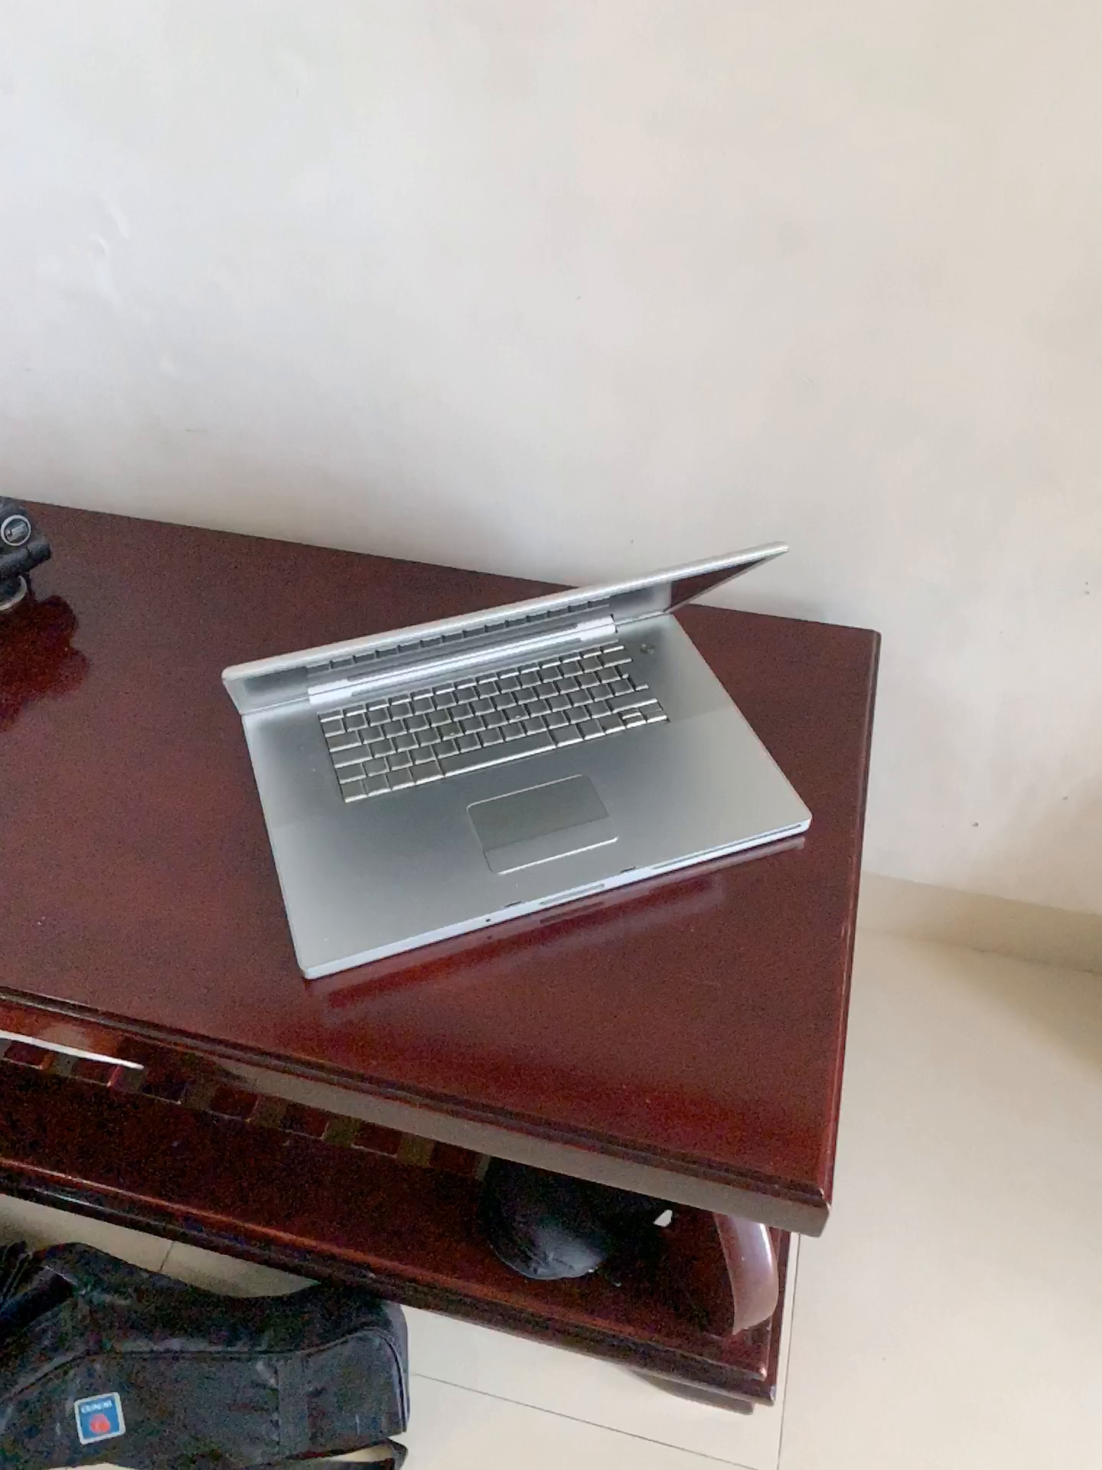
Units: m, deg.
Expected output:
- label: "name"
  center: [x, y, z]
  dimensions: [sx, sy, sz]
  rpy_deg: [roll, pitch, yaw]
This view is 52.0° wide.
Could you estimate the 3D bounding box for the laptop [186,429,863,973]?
- label: "laptop"
  center: [-0.028, -0.042, 0.846]
  dimensions: [0.399, 0.193, 0.266]
  rpy_deg: [-14, 47, -15]
